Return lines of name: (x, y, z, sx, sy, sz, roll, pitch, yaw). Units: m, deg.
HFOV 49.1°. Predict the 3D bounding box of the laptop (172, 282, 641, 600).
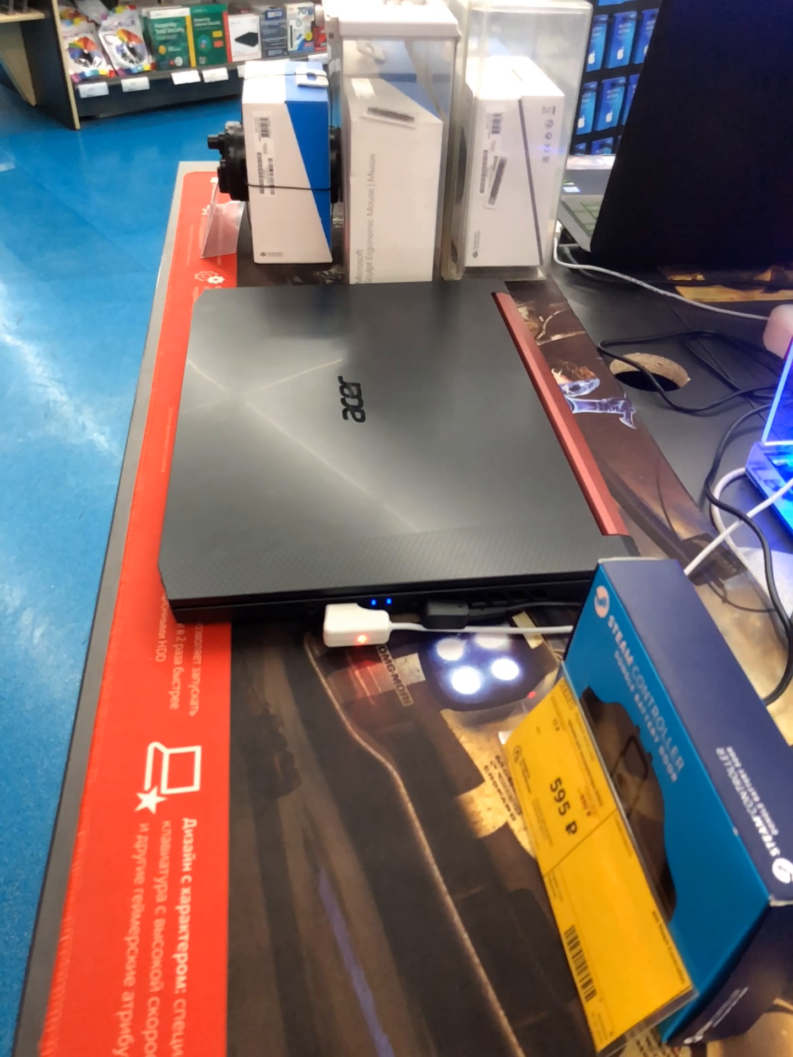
laptop: (-0.013, -0.085, 0.581, 0.242, 0.005, 0.352, -4, 40, -6)
